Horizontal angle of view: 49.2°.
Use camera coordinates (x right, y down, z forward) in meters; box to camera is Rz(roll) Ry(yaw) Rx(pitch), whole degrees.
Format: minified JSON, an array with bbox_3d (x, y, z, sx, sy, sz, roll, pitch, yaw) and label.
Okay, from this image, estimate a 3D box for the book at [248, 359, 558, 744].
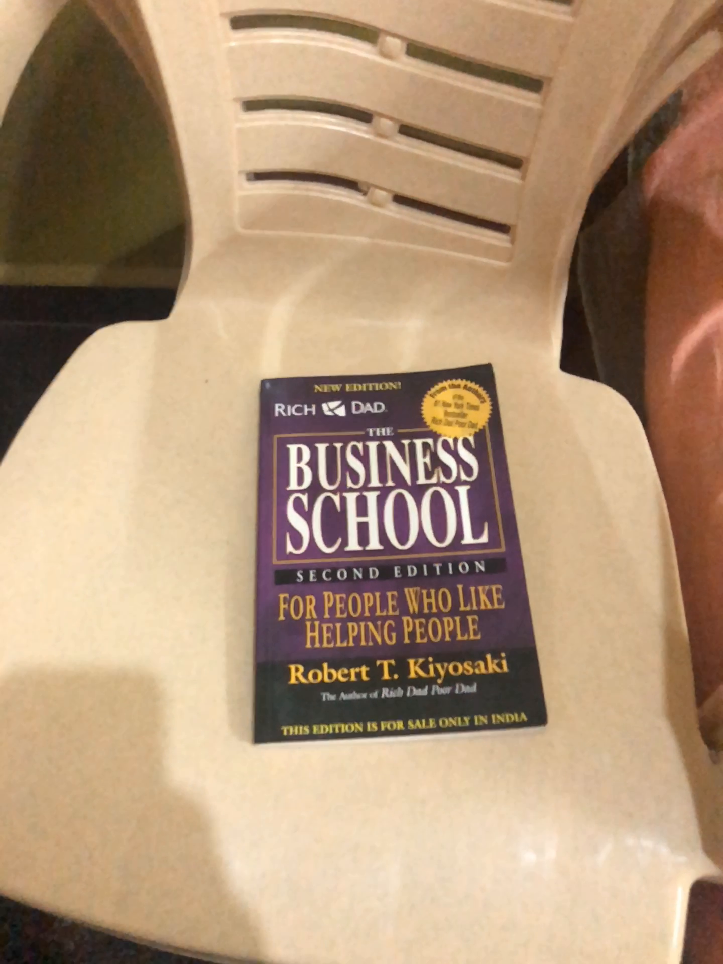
[{"bbox_3d":[0.017,0.035,0.487,0.170,0.020,0.230,-4,69,0],"label":"book"}]
